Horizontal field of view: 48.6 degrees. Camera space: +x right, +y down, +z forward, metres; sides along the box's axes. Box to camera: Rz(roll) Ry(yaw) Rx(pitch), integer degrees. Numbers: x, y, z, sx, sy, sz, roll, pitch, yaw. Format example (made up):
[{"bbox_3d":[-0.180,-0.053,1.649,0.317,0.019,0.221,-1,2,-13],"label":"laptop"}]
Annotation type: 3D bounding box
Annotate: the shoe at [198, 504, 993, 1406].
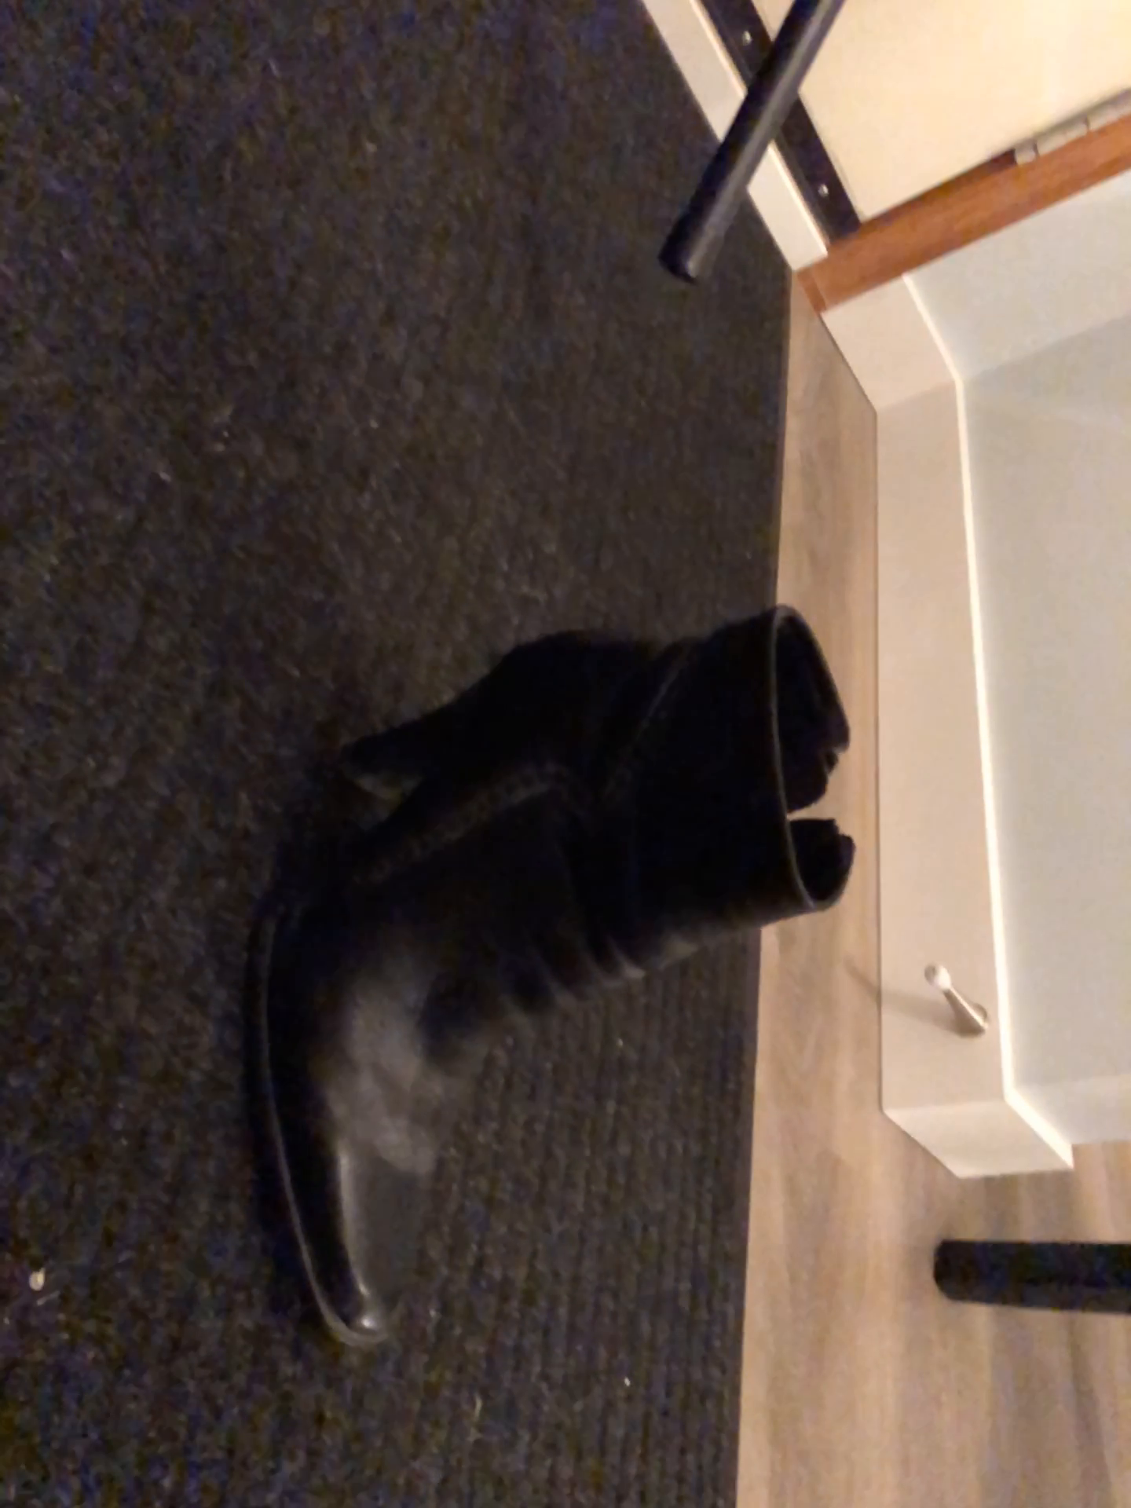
[{"bbox_3d":[0.004,0.075,0.407,0.091,0.209,0.240,34,48,-47],"label":"shoe"}]
